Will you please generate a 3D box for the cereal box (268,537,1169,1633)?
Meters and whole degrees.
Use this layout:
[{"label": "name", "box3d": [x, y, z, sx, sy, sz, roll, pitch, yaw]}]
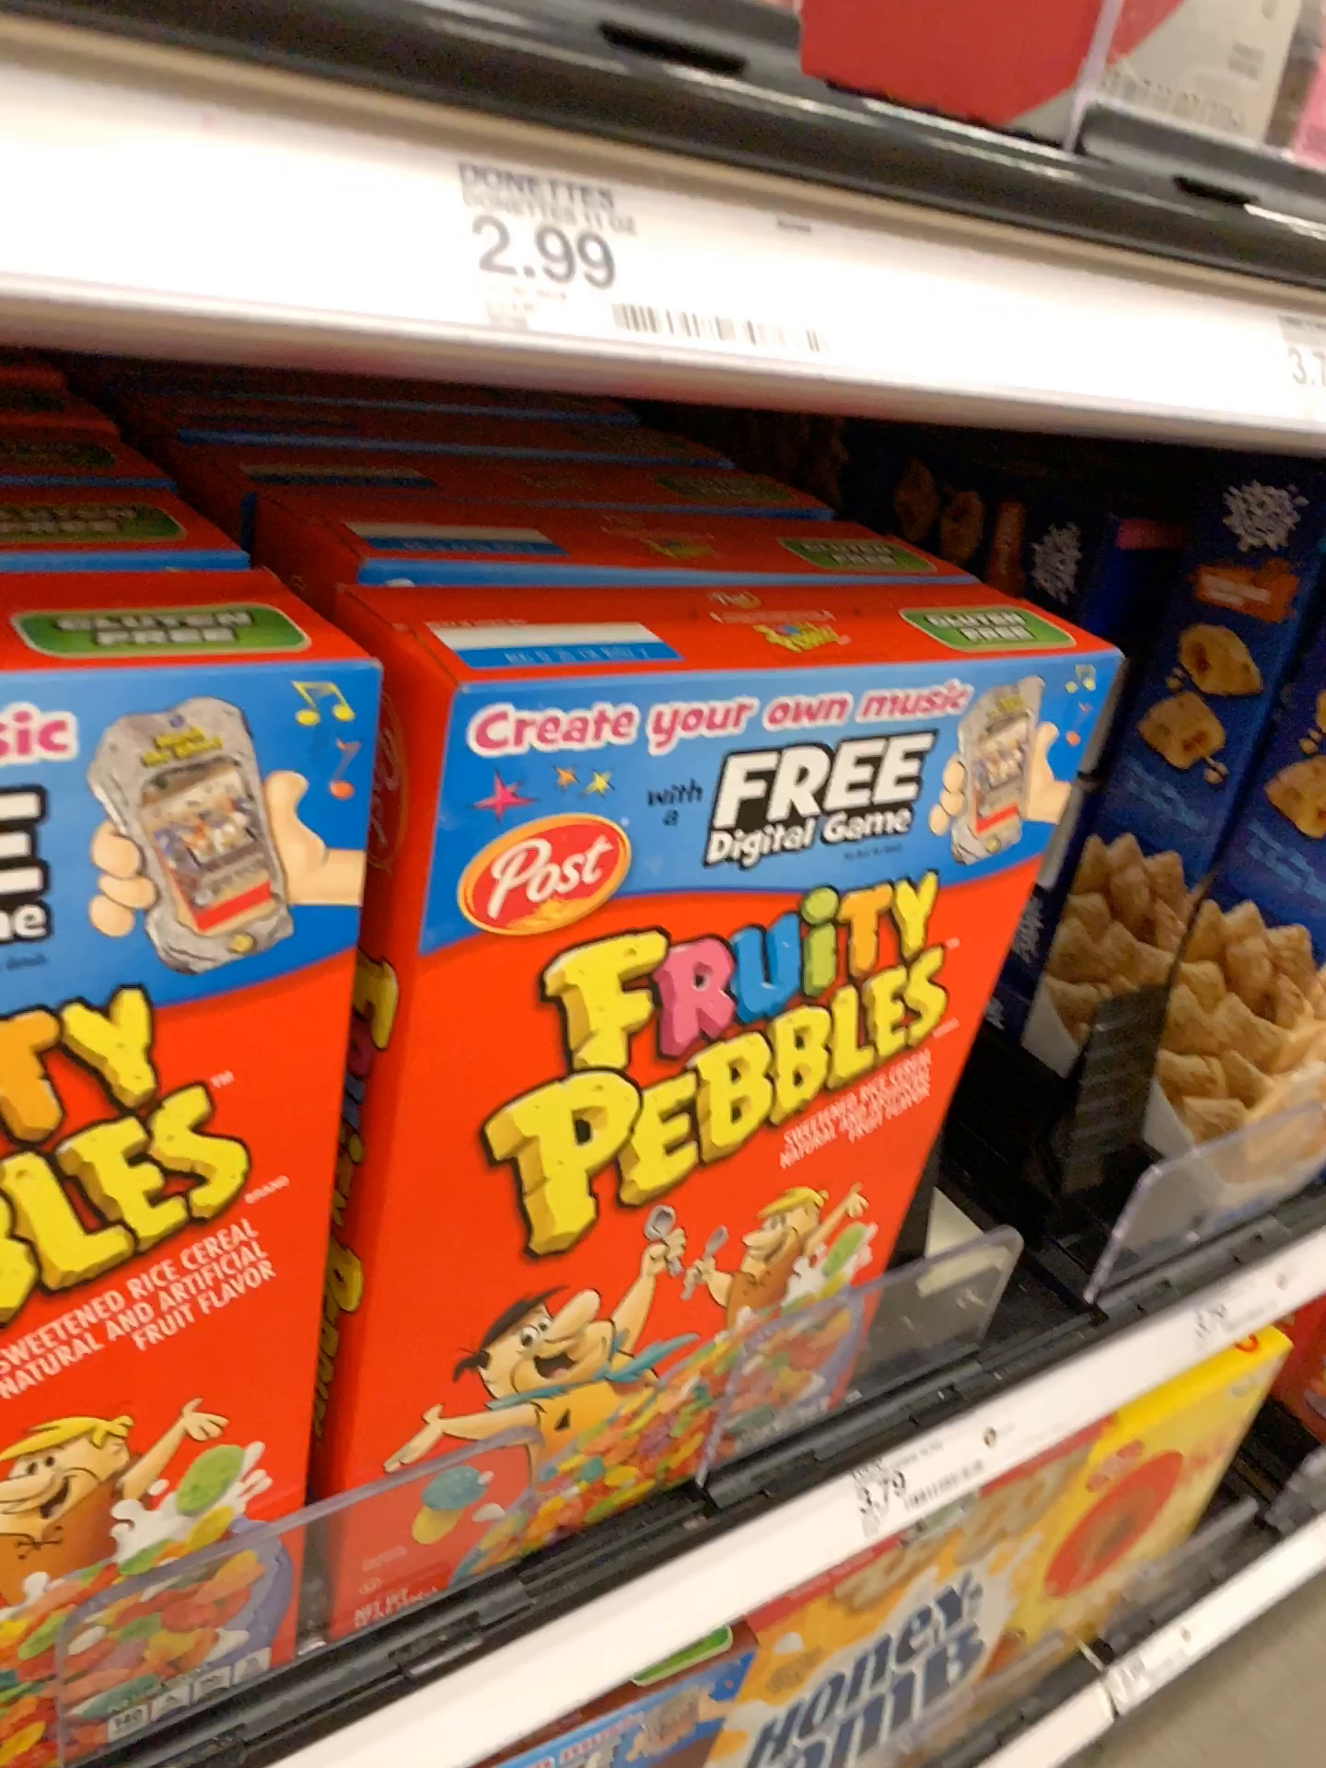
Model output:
[{"label": "cereal box", "box3d": [0.005, 0.054, 0.384, 0.200, 0.288, 0.060, -9, 35, -34]}]
